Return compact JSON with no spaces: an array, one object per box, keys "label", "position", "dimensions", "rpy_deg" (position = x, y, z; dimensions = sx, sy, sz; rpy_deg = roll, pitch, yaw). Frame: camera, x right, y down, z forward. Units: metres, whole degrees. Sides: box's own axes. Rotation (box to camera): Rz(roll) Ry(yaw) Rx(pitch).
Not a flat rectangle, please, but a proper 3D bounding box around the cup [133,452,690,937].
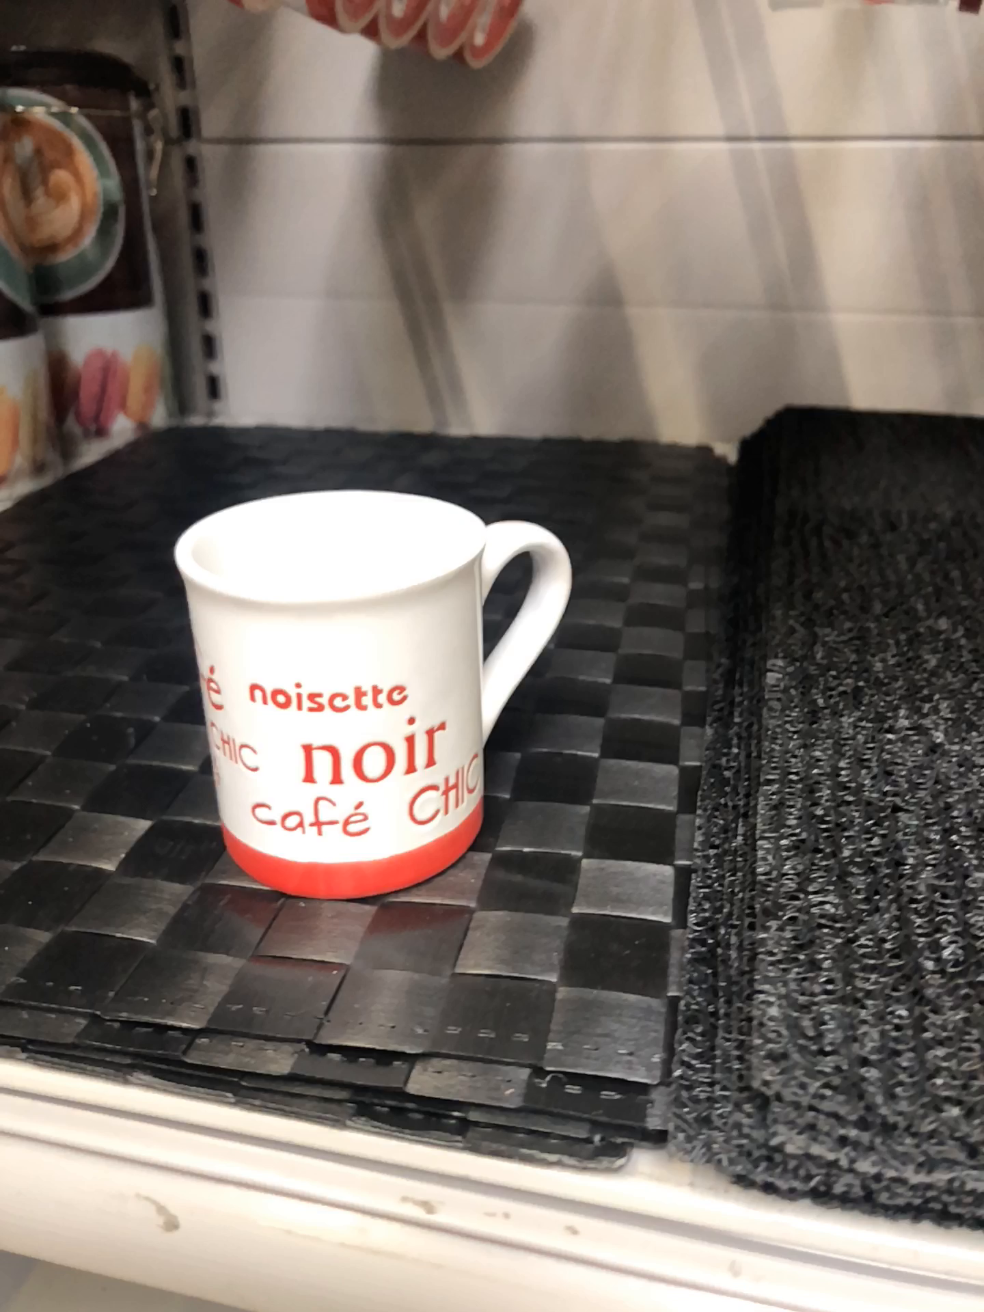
[{"label":"cup","position":[-0.017,0.000,0.246],"dimensions":[0.097,0.064,0.067],"rpy_deg":[-17,30,-32]}]
